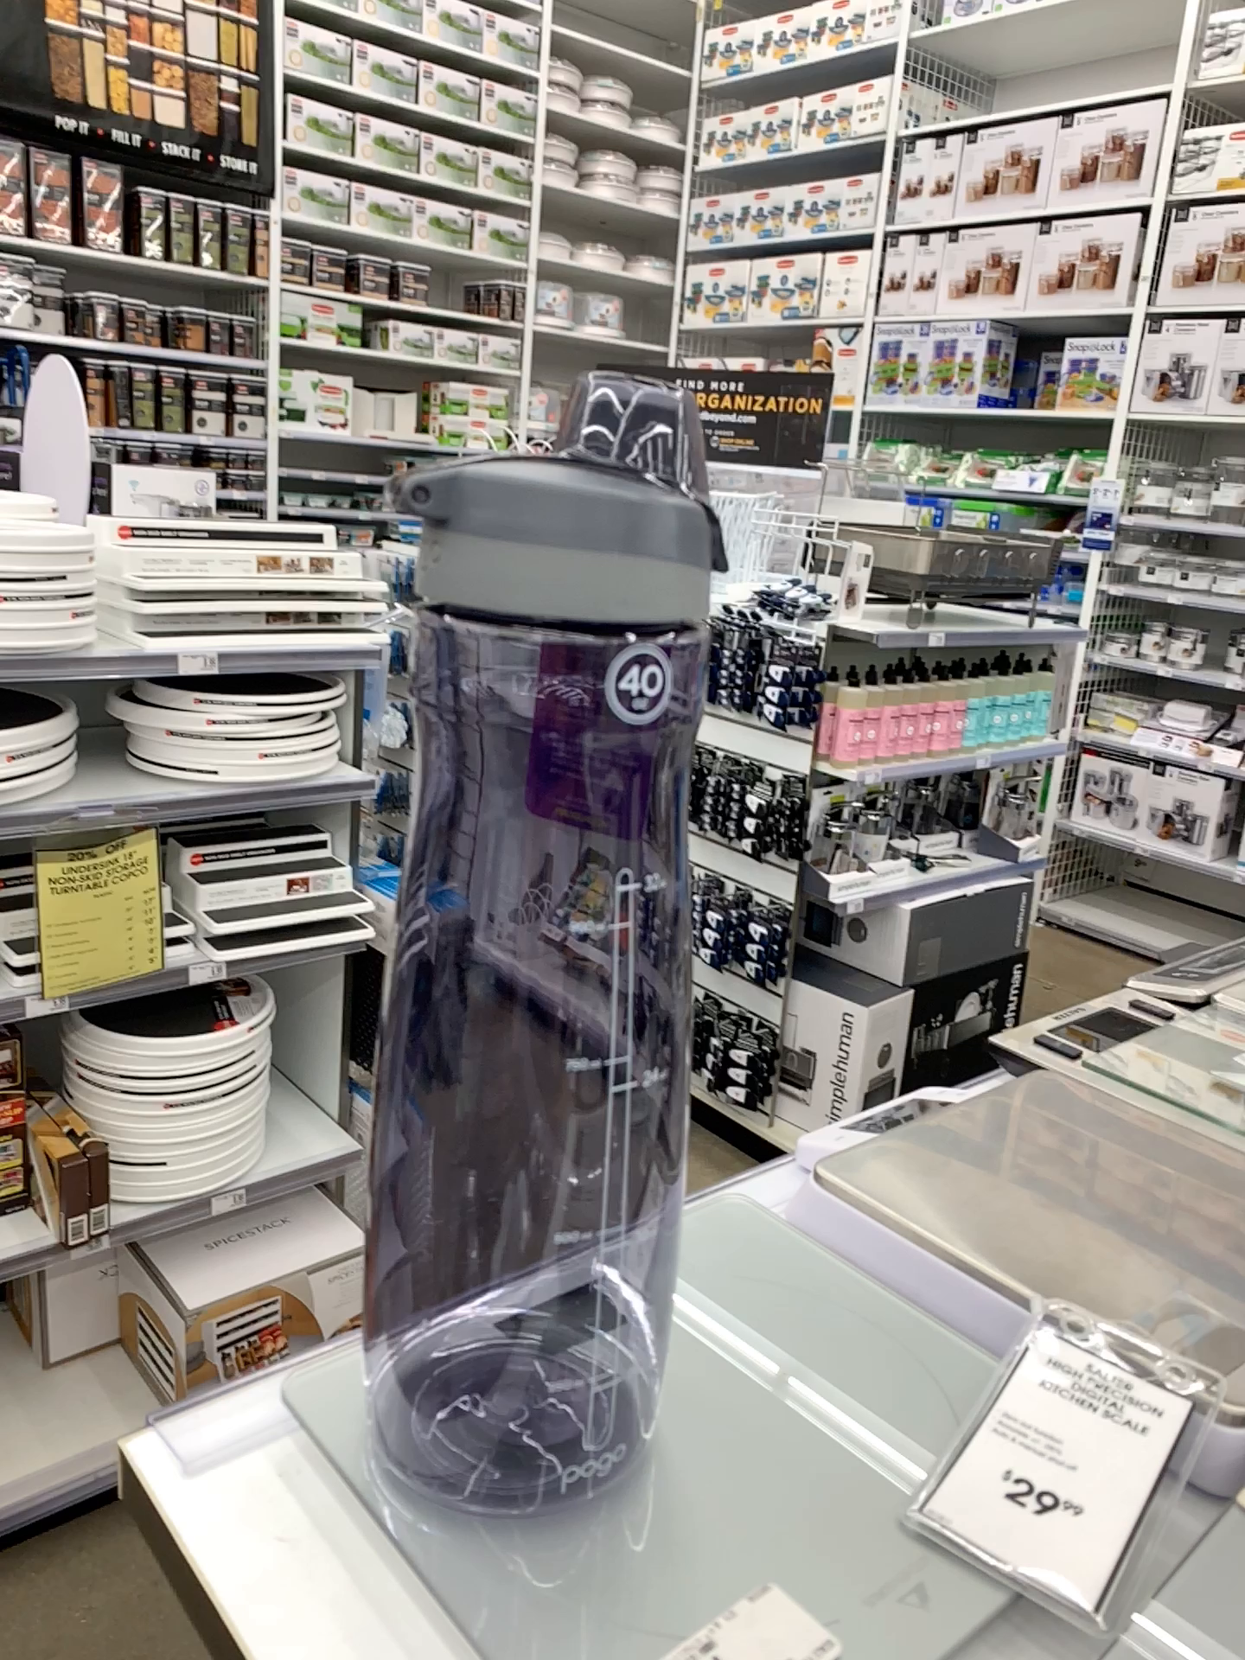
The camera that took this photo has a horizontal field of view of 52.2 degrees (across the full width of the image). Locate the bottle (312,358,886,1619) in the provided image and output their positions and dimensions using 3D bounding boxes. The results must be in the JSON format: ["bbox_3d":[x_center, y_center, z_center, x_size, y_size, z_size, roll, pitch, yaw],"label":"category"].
[{"bbox_3d":[-0.019,0.038,0.356,0.100,0.309,0.100,4,15,-1],"label":"bottle"}]
